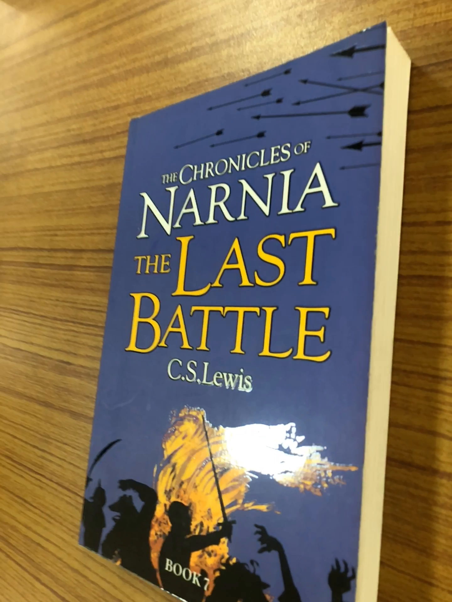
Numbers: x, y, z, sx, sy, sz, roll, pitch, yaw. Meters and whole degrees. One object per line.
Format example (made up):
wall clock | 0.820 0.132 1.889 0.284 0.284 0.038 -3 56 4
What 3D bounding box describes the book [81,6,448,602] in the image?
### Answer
book | 0.006 0.010 0.203 0.141 0.030 0.200 0 83 40
